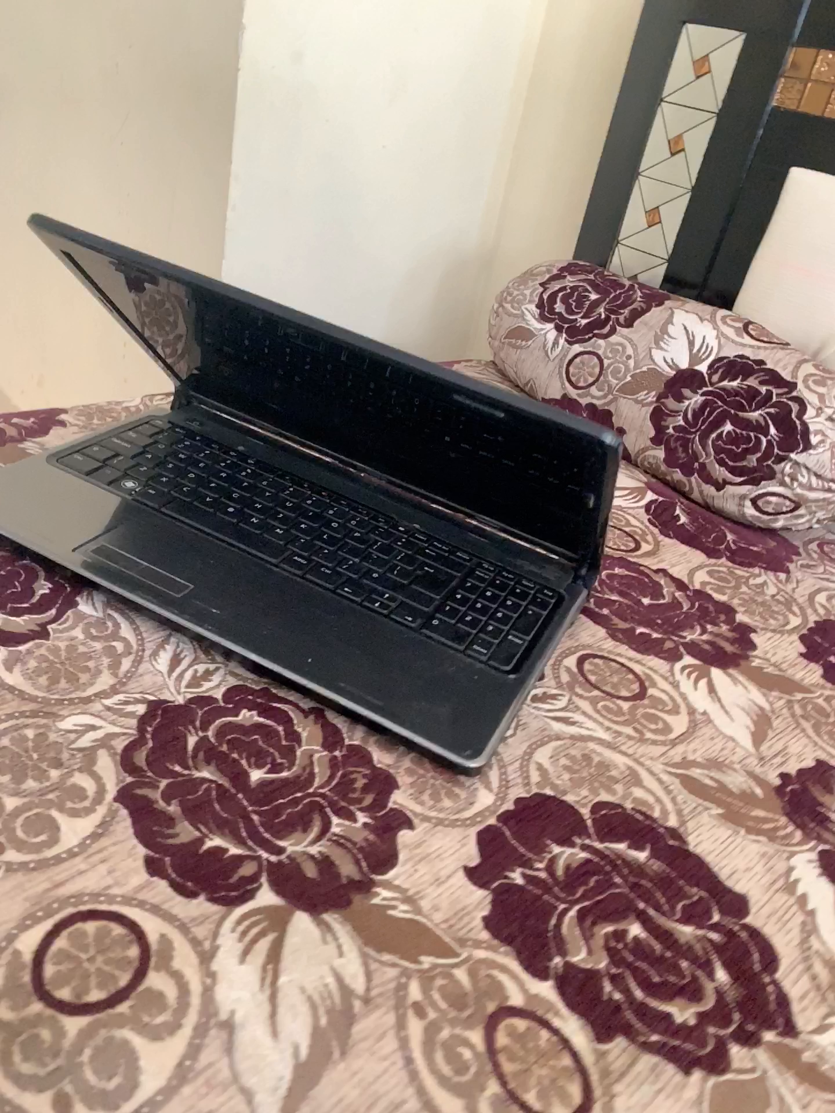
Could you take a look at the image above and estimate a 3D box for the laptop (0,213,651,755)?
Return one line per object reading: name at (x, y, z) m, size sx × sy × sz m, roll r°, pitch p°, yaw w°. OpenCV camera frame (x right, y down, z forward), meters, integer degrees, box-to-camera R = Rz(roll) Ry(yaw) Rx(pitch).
laptop at (-0.074, -0.079, 0.534) m, size 0.363 × 0.154 × 0.221 m, roll 23°, pitch 31°, yaw 17°
